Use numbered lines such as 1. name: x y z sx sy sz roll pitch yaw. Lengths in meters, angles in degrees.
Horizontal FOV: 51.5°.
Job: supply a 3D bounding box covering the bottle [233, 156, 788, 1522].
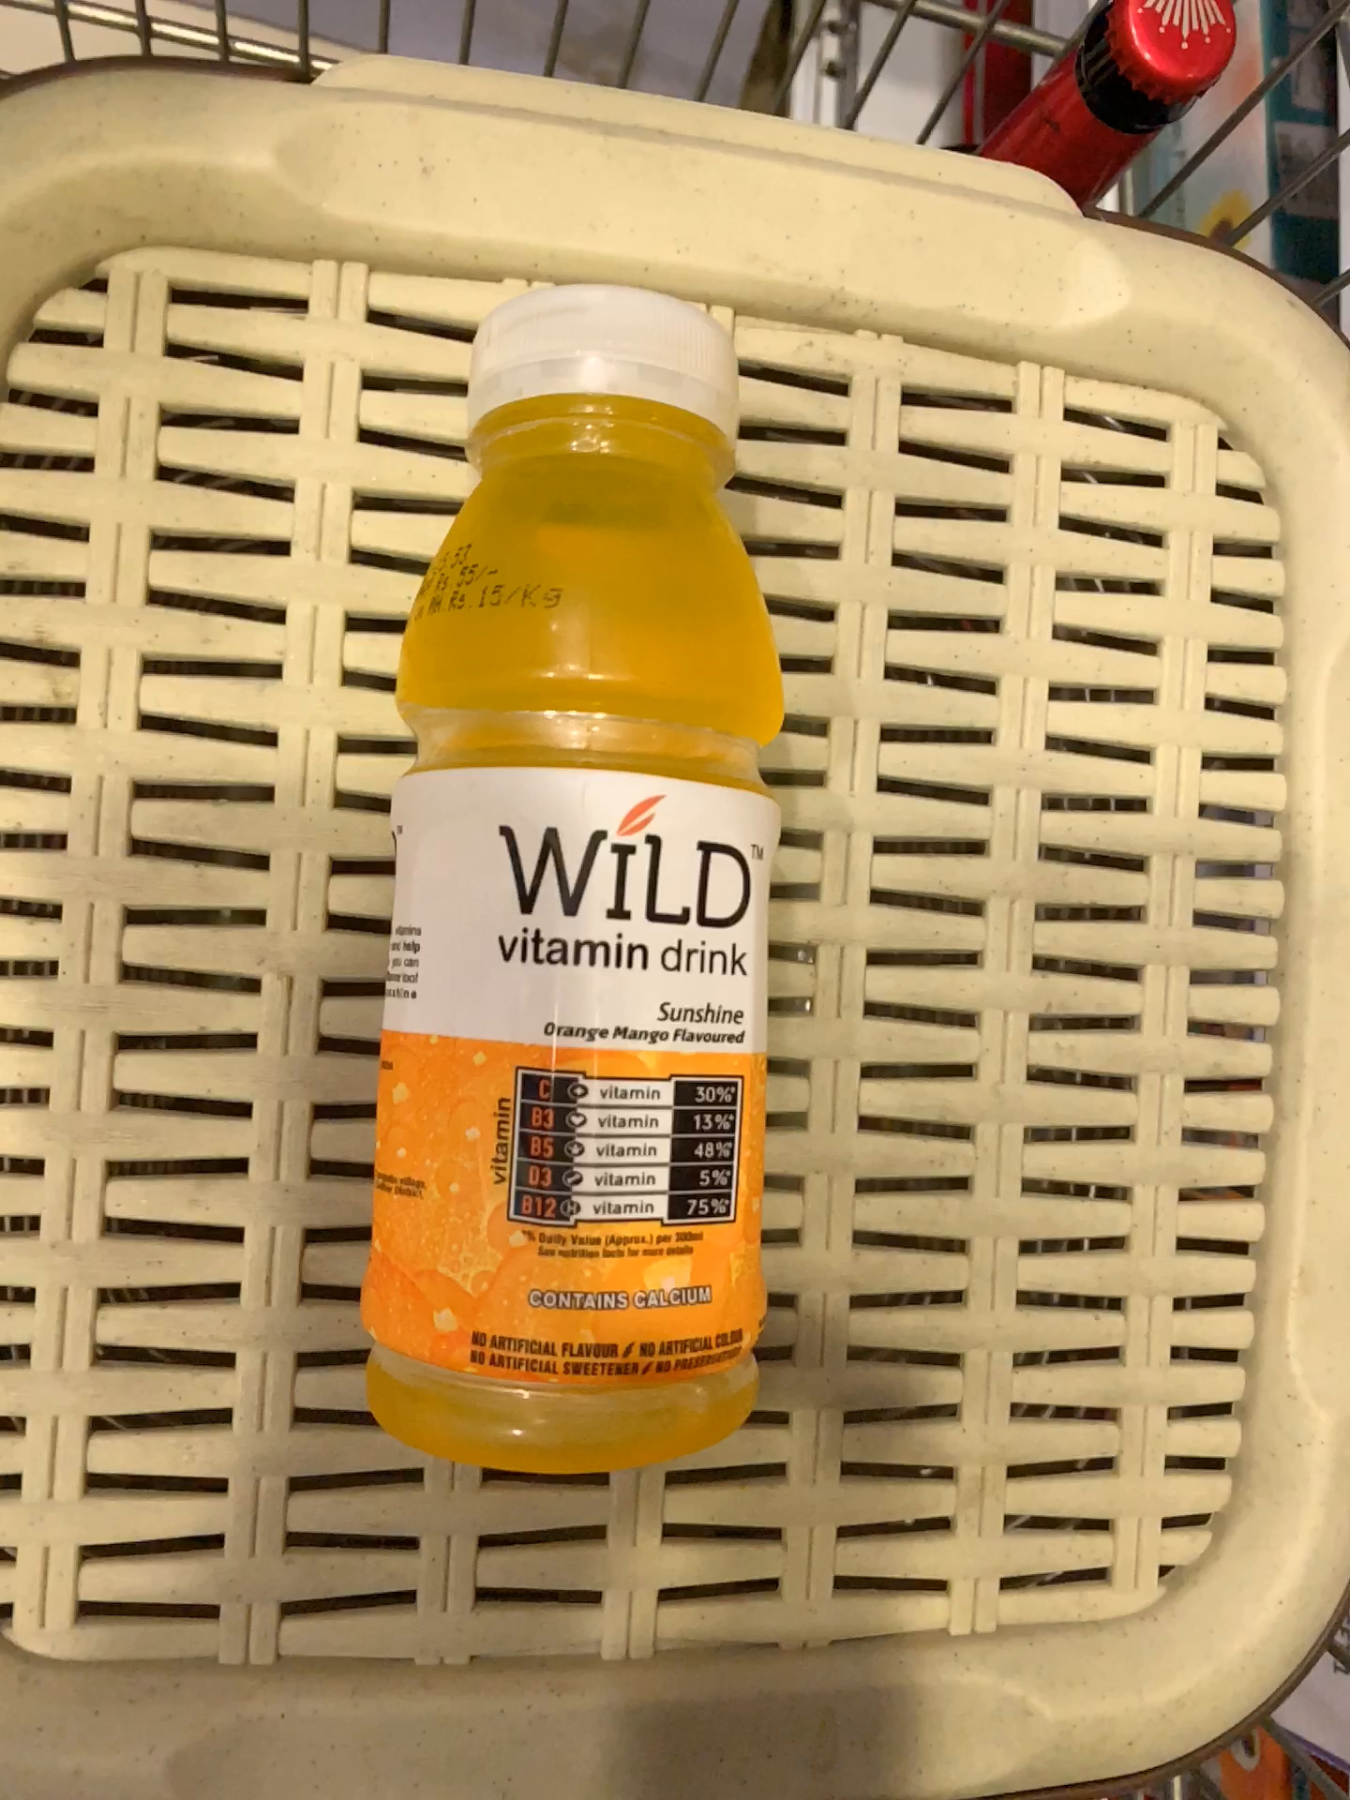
1. bottle: -0.028 -0.007 0.214 0.060 0.060 0.170 3 89 -25
